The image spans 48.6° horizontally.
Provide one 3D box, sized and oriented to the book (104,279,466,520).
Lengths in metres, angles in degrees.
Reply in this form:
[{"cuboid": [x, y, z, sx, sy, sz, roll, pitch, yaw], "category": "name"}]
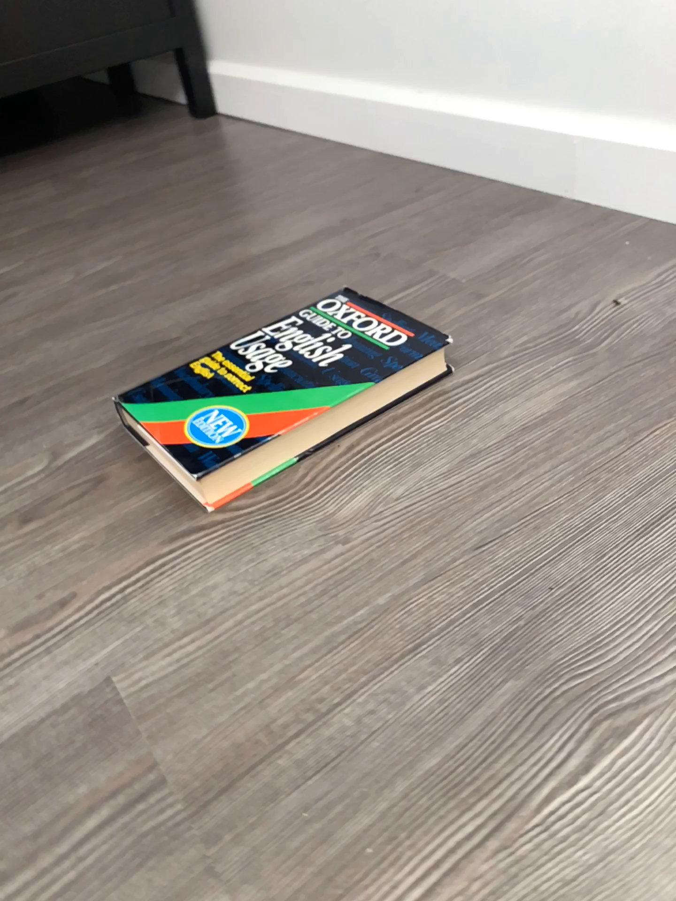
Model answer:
[{"cuboid": [-0.040, -0.053, 0.572, 0.230, 0.035, 0.150, -30, 41, -23], "category": "book"}]
